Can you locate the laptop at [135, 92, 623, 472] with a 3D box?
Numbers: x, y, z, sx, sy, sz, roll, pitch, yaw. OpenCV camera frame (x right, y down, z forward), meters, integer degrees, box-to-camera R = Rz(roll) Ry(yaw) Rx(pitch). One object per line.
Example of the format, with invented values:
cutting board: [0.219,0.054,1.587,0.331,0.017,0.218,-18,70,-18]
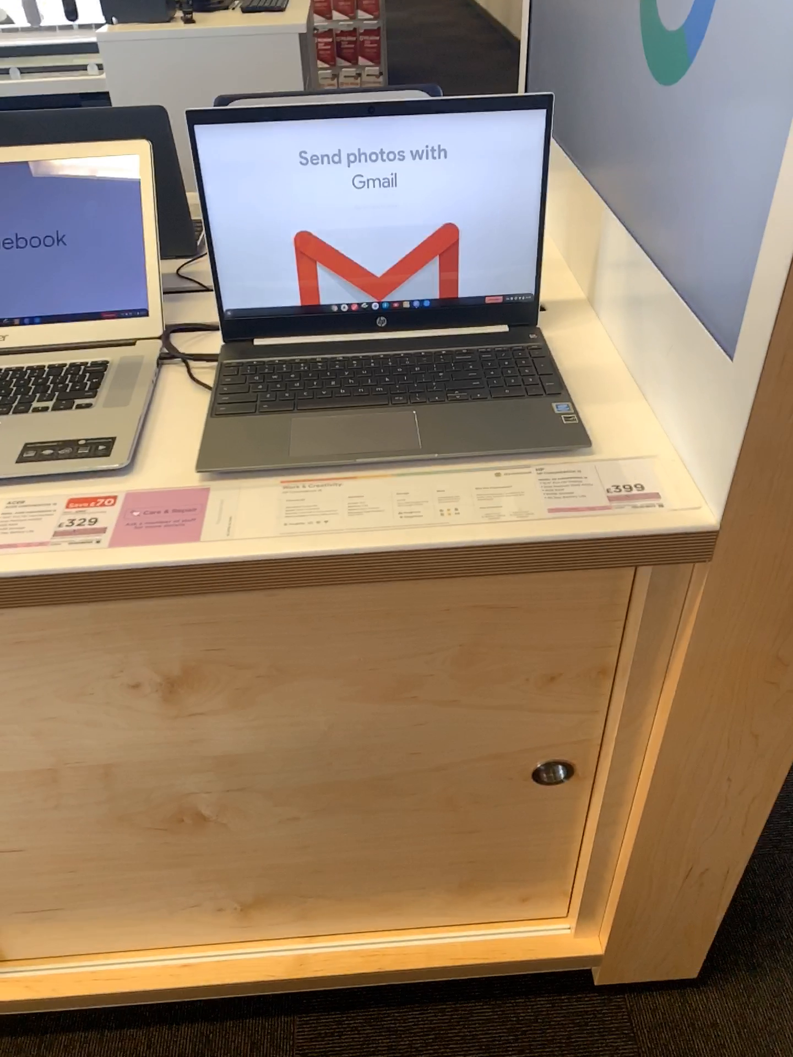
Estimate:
laptop: [-0.017,-0.237,0.750,0.351,0.228,0.266,-4,40,-2]
